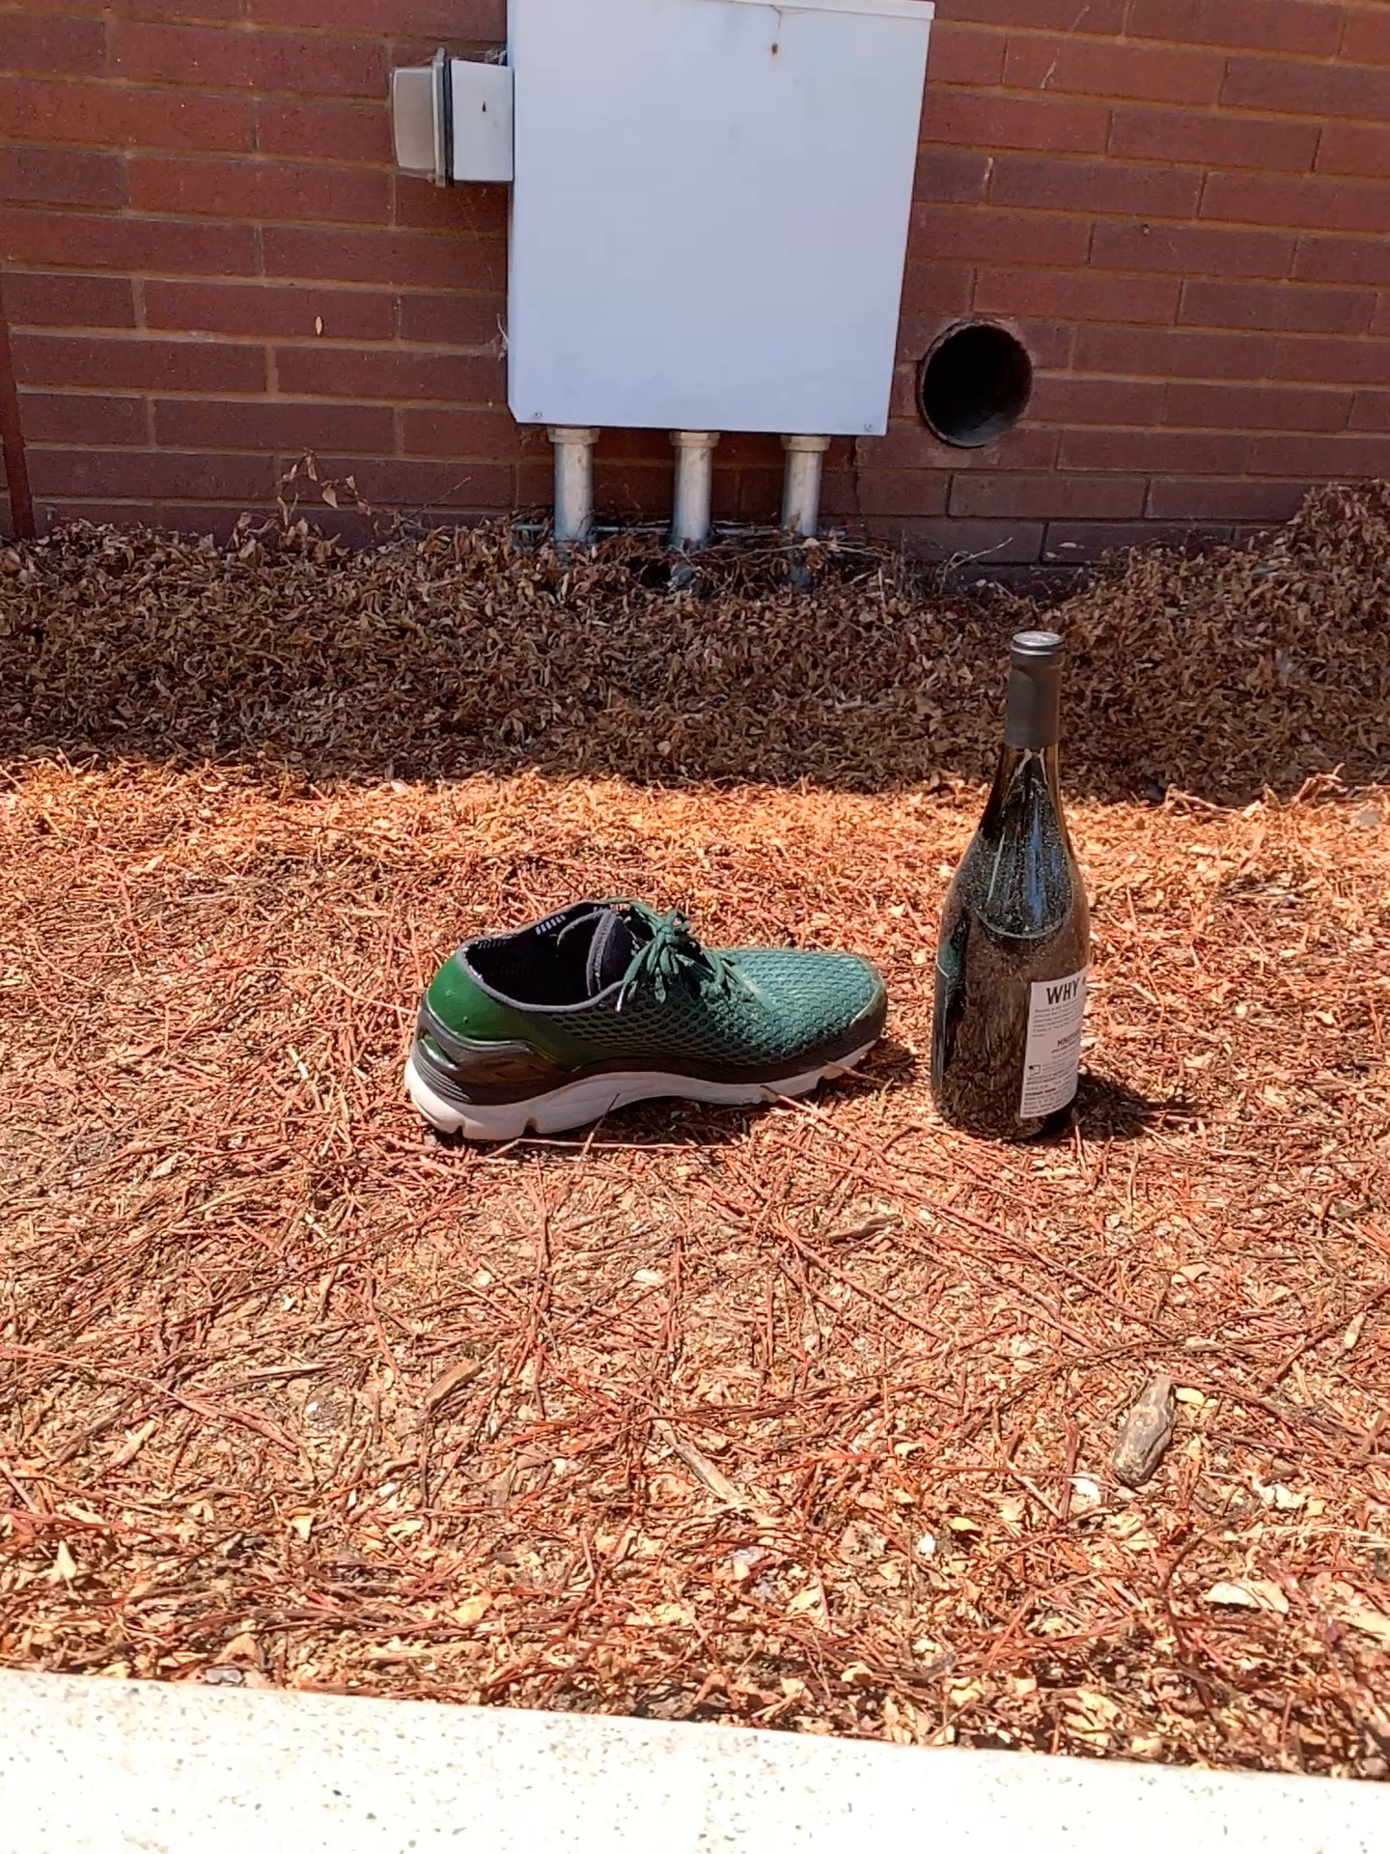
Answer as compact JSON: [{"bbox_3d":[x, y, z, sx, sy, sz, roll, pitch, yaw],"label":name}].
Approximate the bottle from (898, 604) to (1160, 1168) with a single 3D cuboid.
[{"bbox_3d":[0.180,-0.023,0.780,0.090,0.279,0.100,13,27,29],"label":"bottle"}]
